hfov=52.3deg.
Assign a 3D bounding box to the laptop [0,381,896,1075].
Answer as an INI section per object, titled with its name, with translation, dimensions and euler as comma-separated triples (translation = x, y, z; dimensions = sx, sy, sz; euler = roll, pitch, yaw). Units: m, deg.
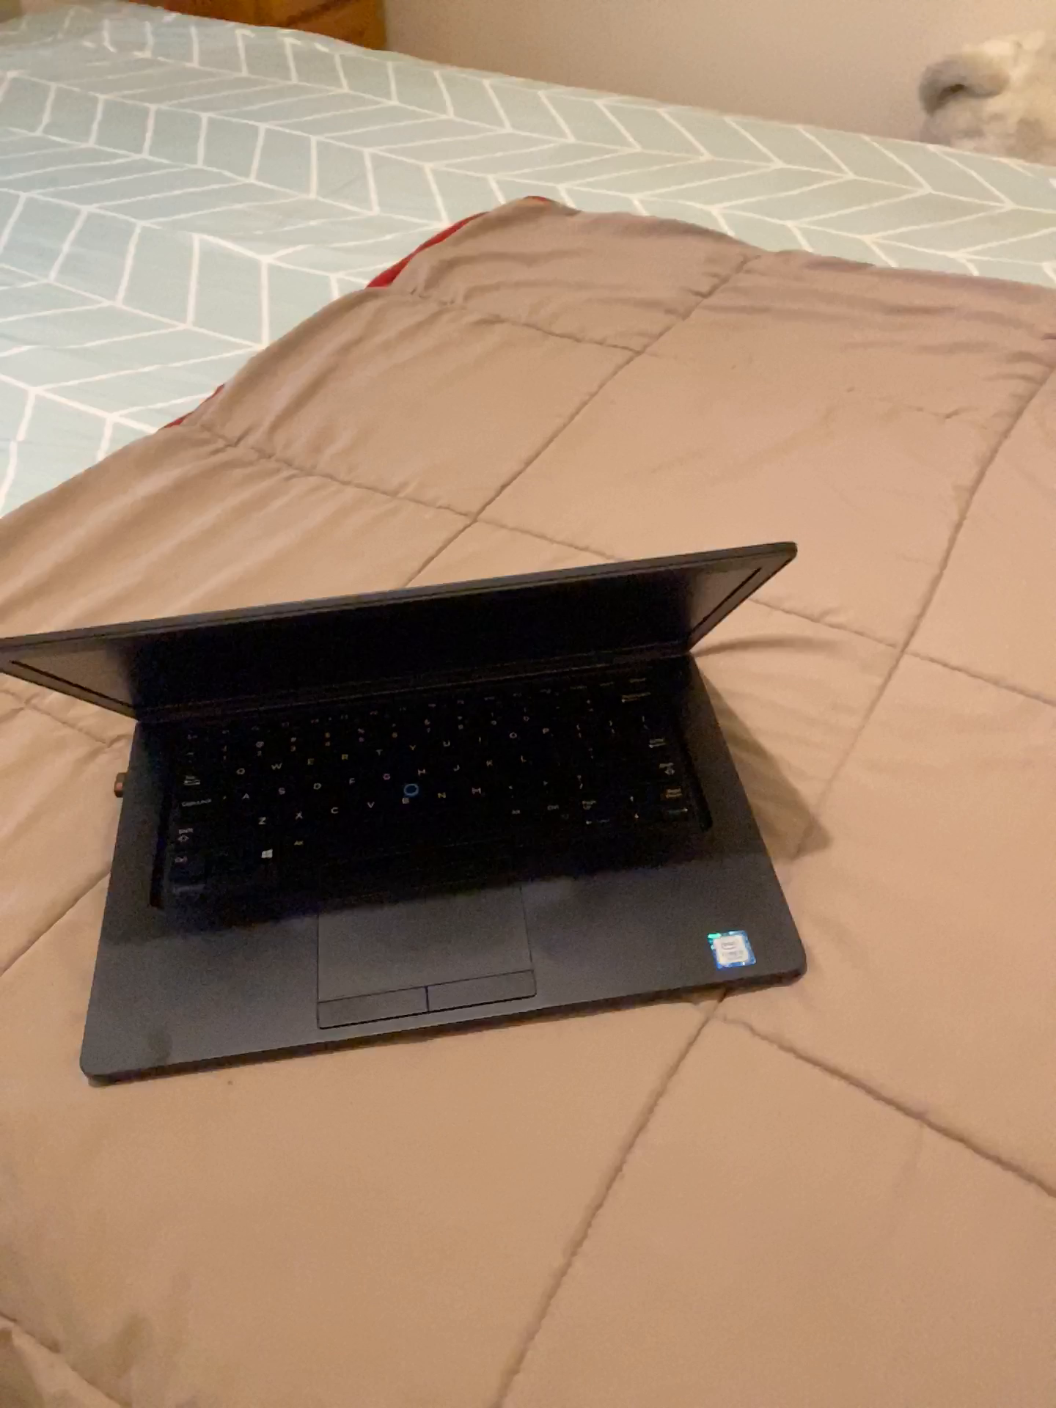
[laptop]
translation = -0.051, 0.003, 0.511
dimensions = 0.334, 0.183, 0.227
euler = -7, 45, -4
